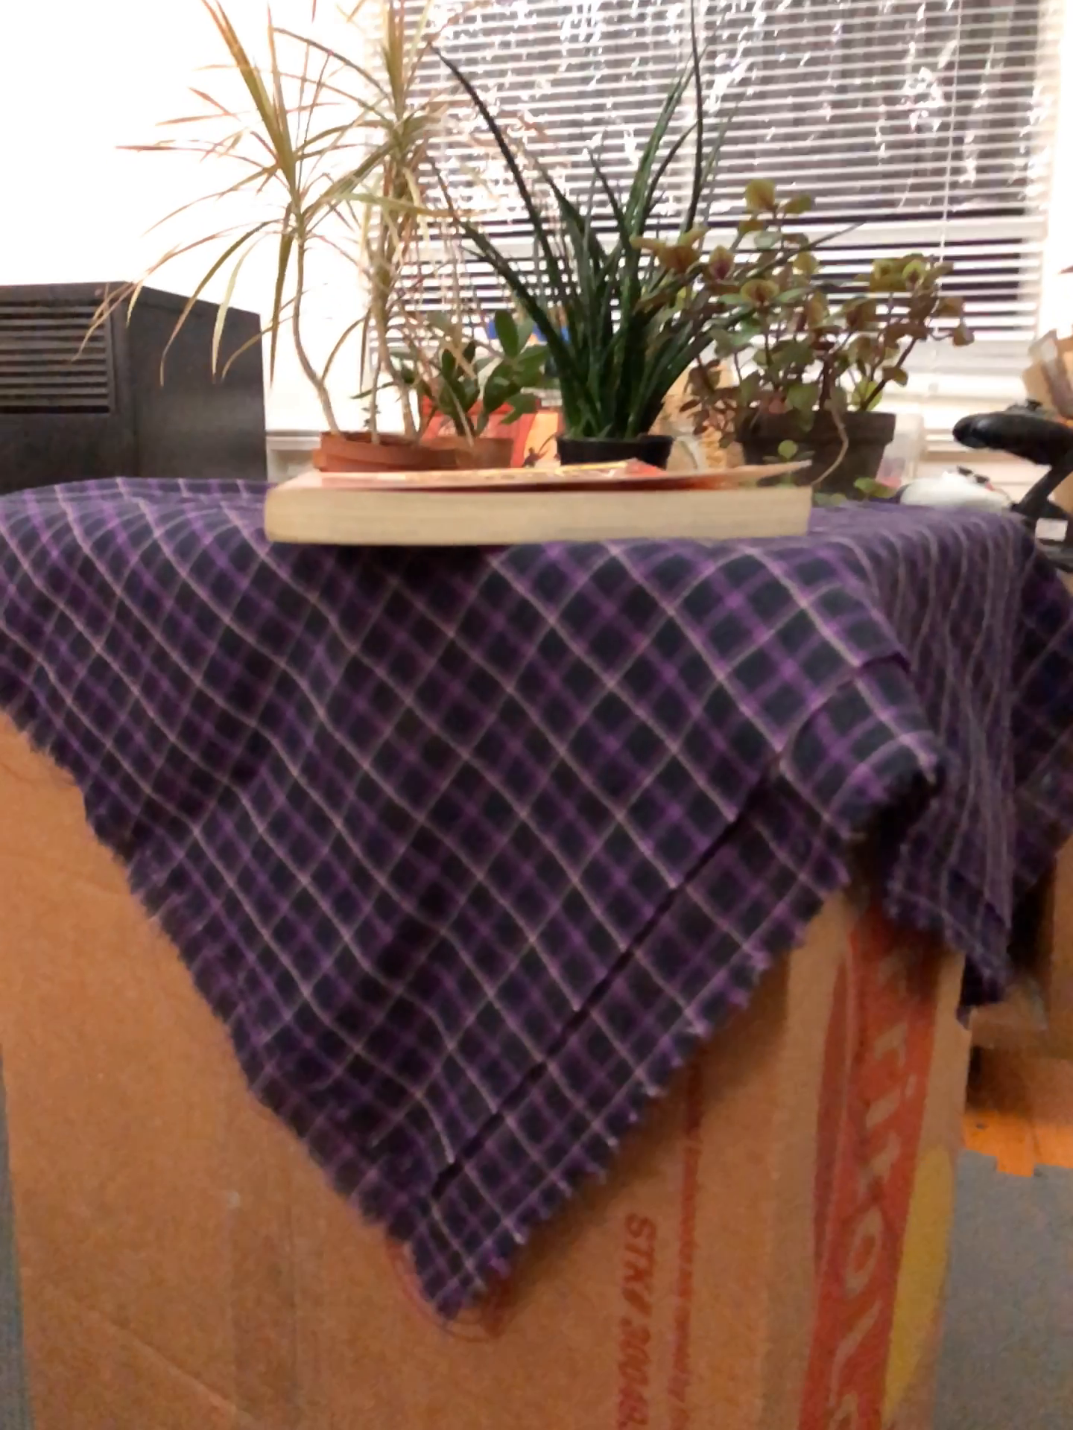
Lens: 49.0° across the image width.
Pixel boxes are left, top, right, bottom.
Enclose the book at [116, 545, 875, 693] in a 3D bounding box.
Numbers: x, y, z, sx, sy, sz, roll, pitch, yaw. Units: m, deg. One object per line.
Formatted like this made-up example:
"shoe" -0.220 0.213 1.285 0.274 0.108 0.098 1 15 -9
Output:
"book" -0.024 -0.040 0.395 0.180 0.020 0.241 -1 11 -9
